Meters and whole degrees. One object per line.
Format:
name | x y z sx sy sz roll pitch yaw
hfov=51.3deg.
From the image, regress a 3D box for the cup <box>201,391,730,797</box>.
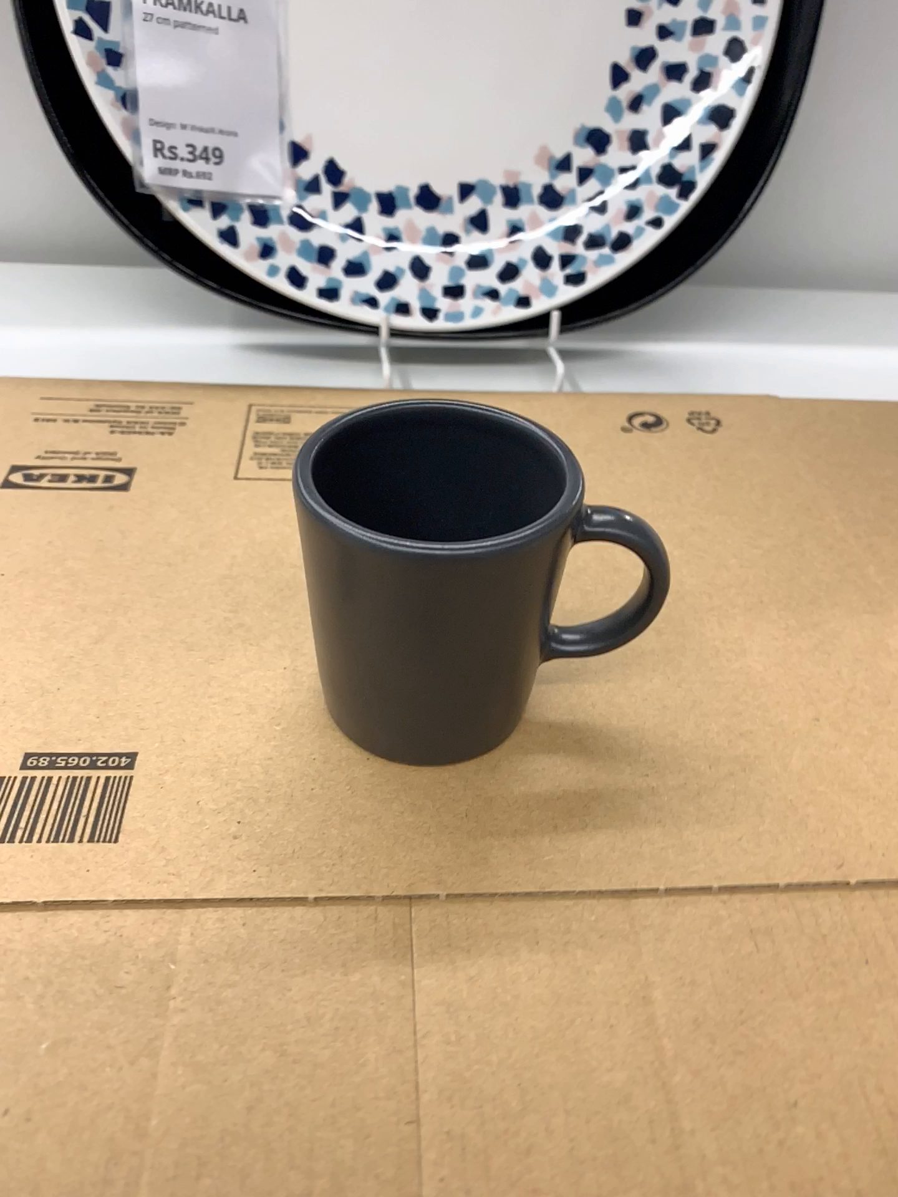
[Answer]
cup | -0.001 -0.003 0.199 0.090 0.060 0.060 -1 38 -7
